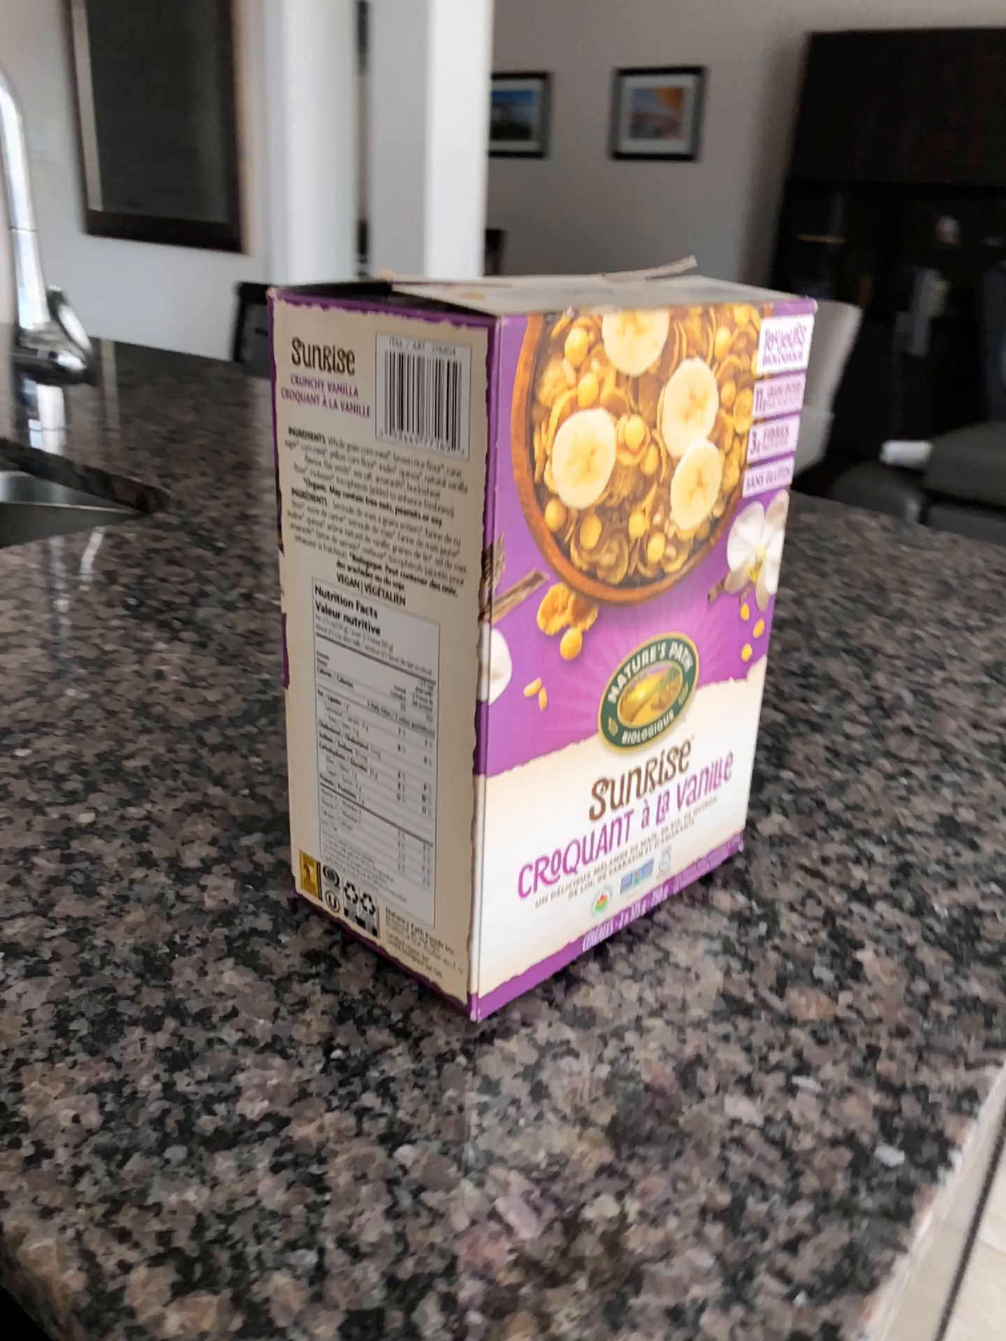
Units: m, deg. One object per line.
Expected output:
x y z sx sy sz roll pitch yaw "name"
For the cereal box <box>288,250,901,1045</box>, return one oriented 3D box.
0.032 -0.026 0.406 0.110 0.229 0.180 22 30 38 "cereal box"
